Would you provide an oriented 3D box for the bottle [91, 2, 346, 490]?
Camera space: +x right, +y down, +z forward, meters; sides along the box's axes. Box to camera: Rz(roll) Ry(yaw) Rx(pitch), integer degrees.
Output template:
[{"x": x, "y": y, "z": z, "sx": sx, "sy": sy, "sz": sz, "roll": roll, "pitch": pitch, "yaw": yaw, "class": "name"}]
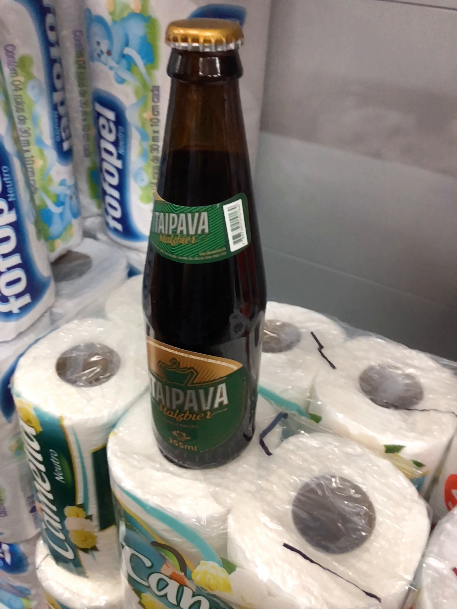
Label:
[{"x": -0.005, "y": -0.012, "z": 0.243, "sx": 0.070, "sy": 0.218, "sz": 0.060, "roll": 16, "pitch": 40, "yaw": 17, "class": "bottle"}]
